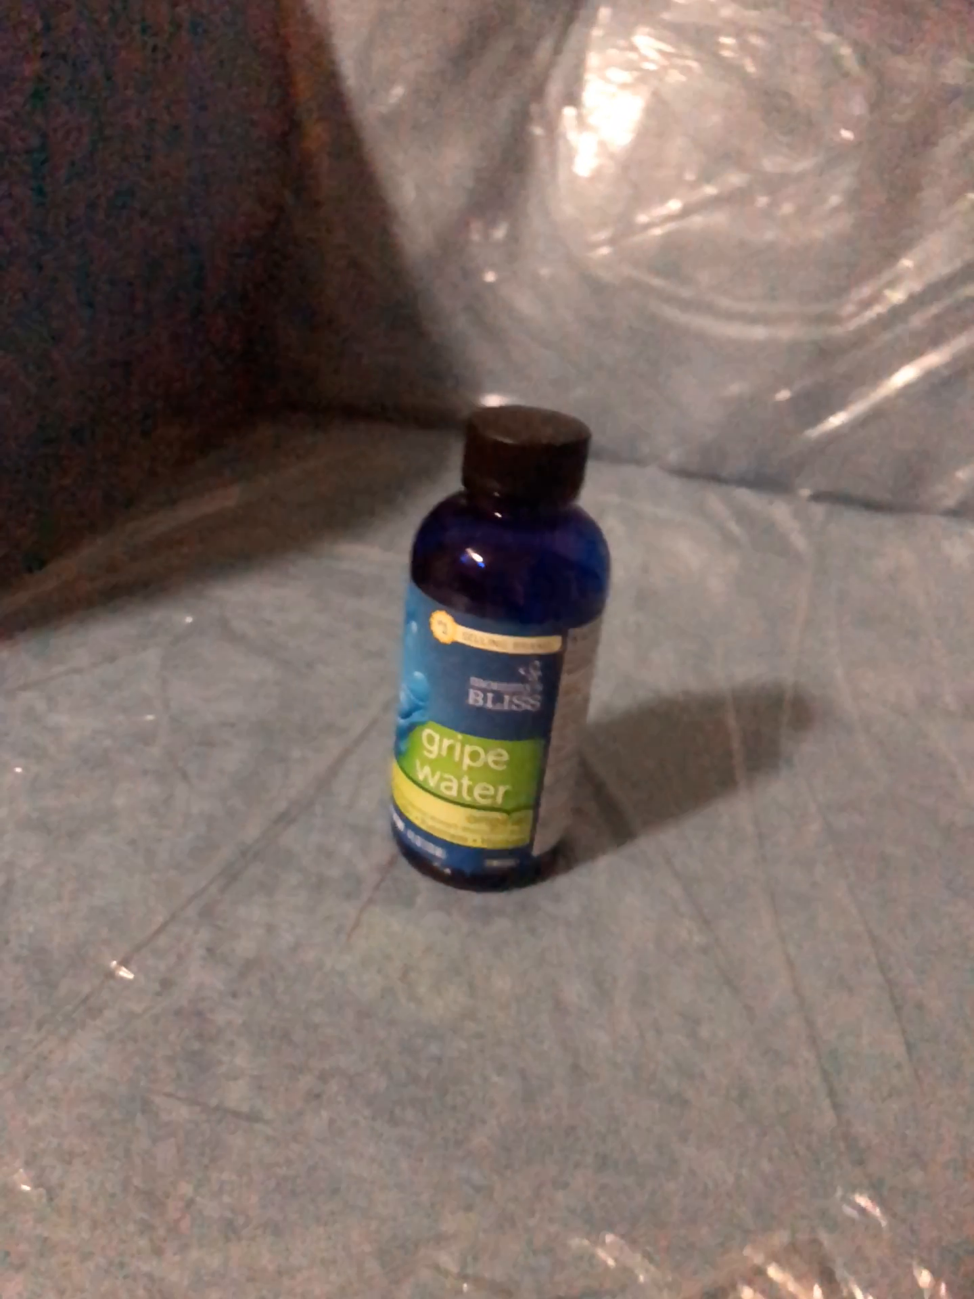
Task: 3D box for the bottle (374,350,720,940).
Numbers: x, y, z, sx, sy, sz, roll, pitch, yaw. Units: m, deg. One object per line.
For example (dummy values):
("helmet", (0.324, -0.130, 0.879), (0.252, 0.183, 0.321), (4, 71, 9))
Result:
("bottle", (0.010, -0.001, 0.258), (0.050, 0.120, 0.050), (4, 31, -3))
